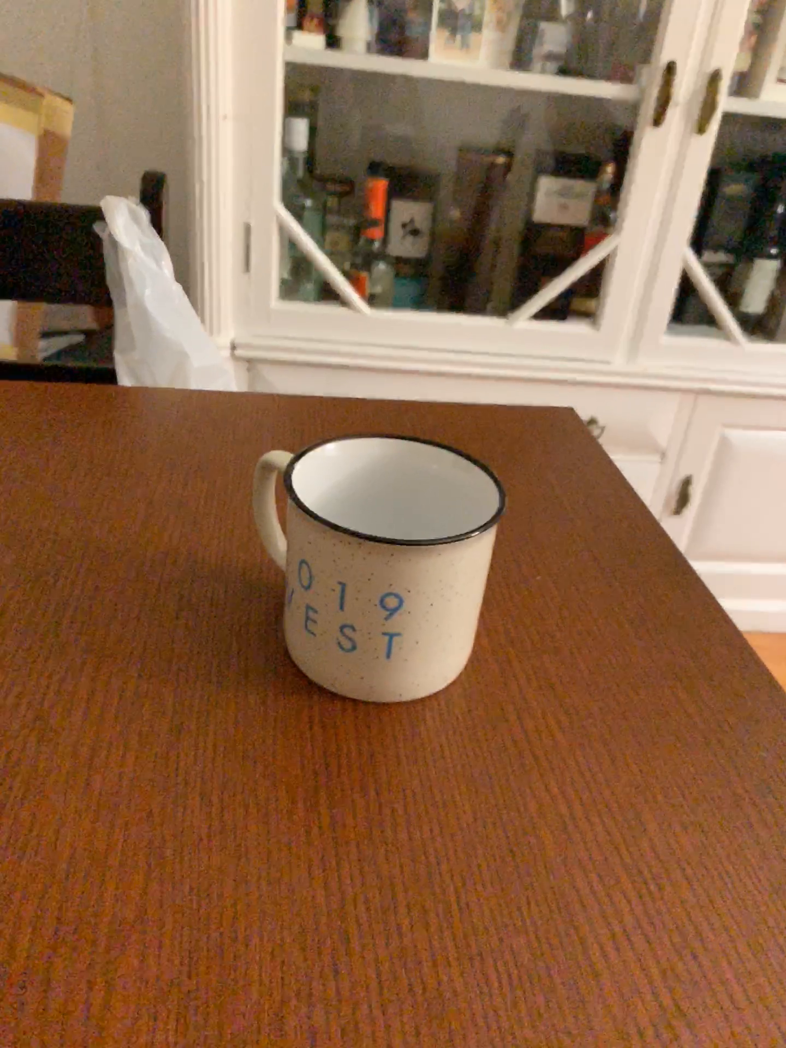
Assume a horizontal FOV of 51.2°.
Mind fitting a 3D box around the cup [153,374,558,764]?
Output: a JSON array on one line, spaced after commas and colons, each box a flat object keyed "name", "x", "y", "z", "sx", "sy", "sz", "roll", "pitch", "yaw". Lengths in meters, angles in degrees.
[{"name": "cup", "x": -0.022, "y": 0.010, "z": 0.387, "sx": 0.150, "sy": 0.099, "sz": 0.100, "roll": 26, "pitch": 36, "yaw": 30}]
